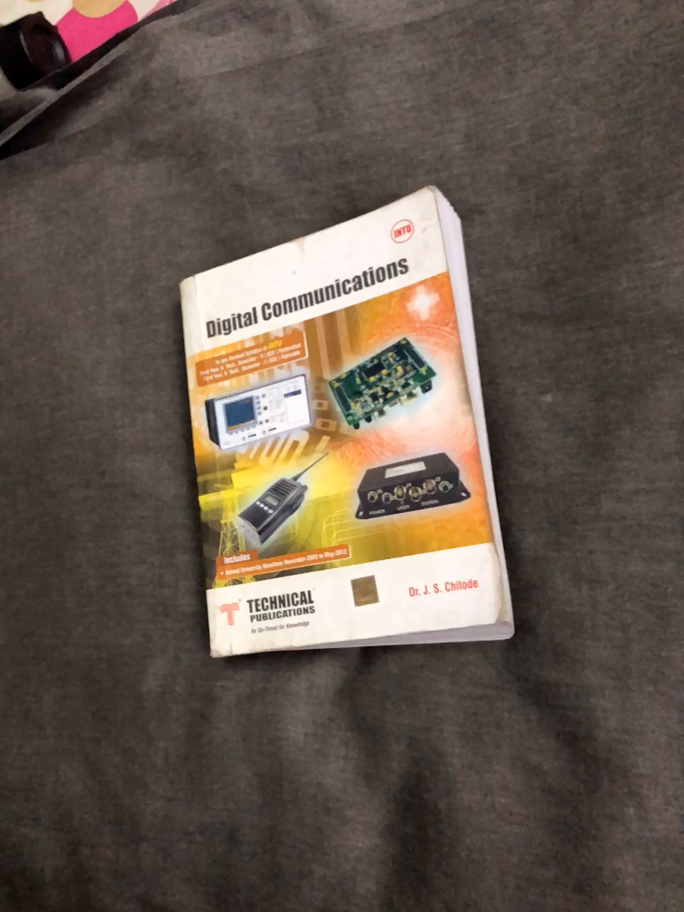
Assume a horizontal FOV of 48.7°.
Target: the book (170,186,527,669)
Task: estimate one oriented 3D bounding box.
[{"bbox_3d":[-0.006,-0.007,0.444,0.182,0.050,0.241,-12,78,26],"label":"book"}]
